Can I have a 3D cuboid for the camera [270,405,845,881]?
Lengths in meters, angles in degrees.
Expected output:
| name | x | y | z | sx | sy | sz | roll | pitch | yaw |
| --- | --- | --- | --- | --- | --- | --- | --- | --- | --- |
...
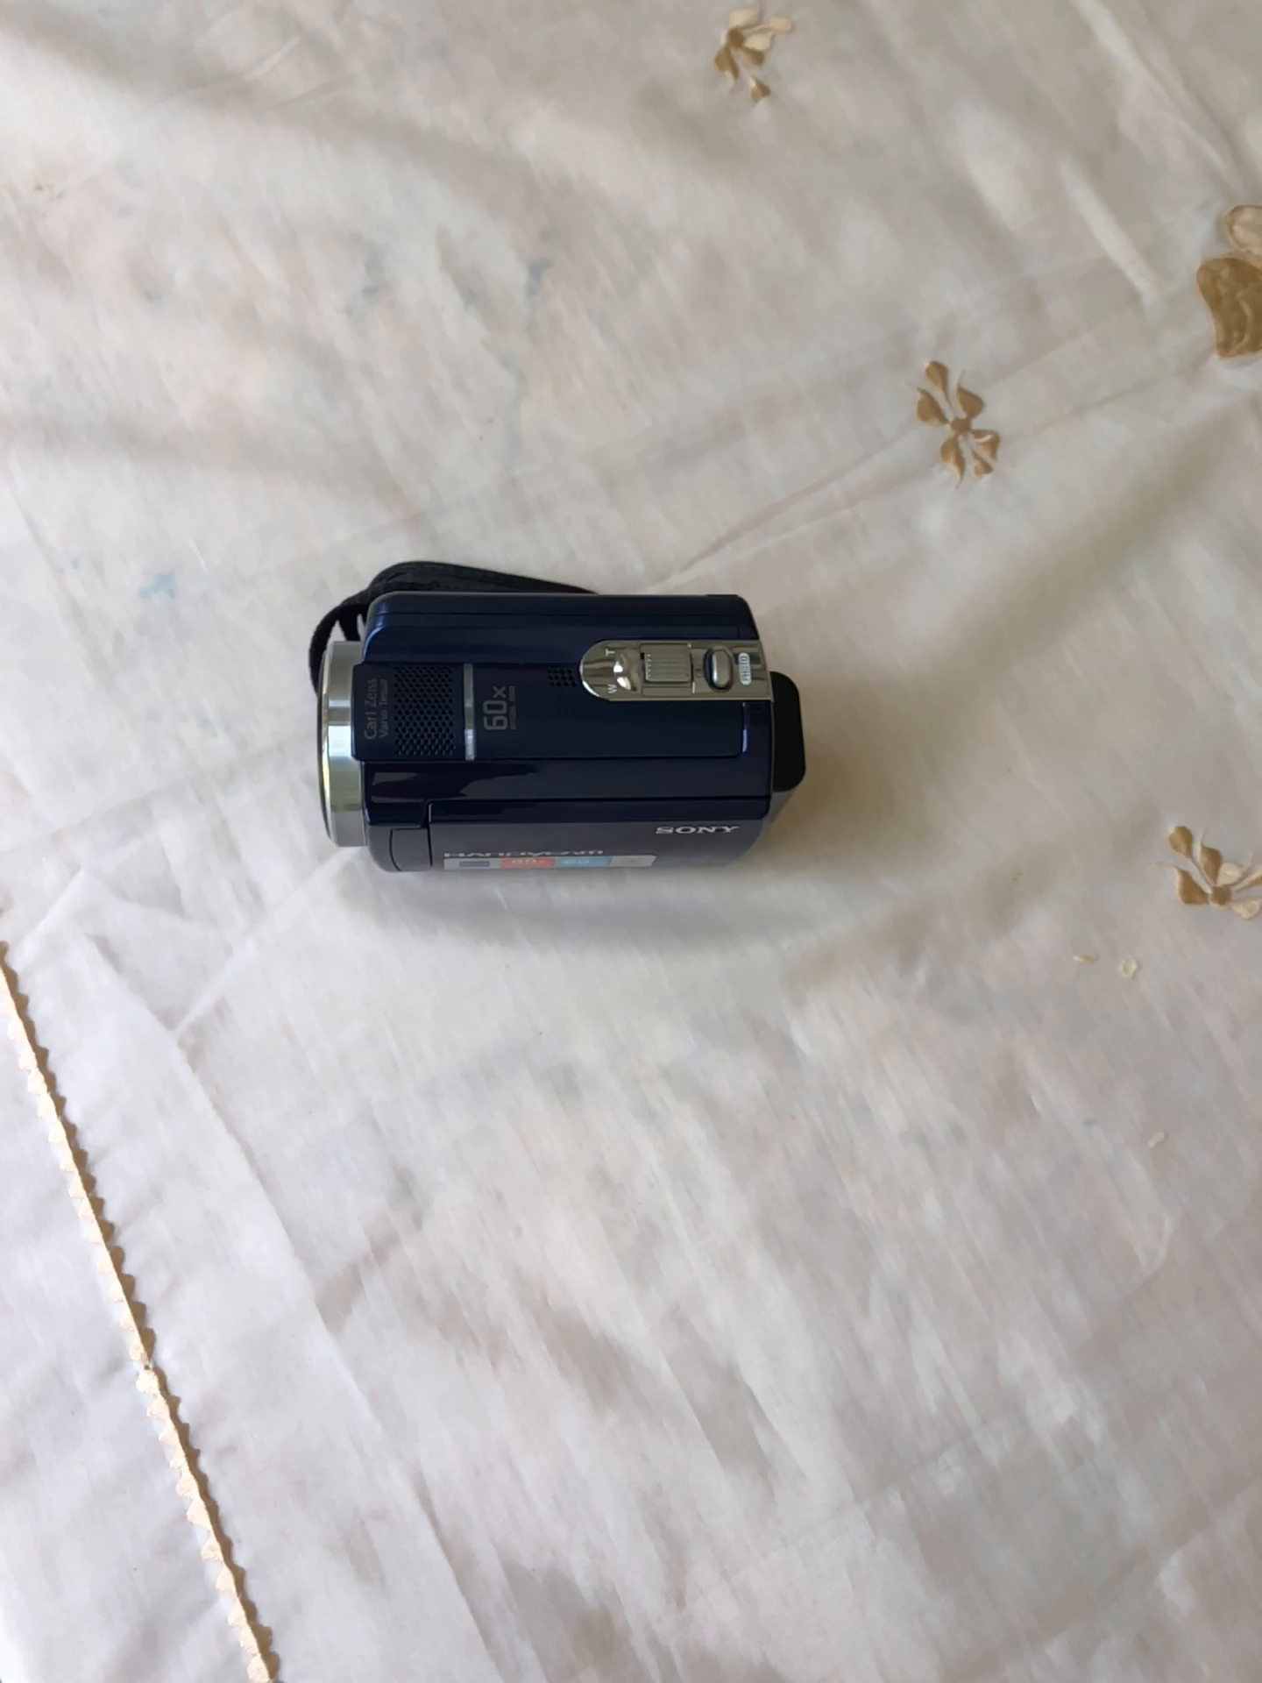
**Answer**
| name | x | y | z | sx | sy | sz | roll | pitch | yaw |
| --- | --- | --- | --- | --- | --- | --- | --- | --- | --- |
| camera | -0.019 | -0.044 | 0.336 | 0.119 | 0.070 | 0.090 | -1 | 73 | -6 |
